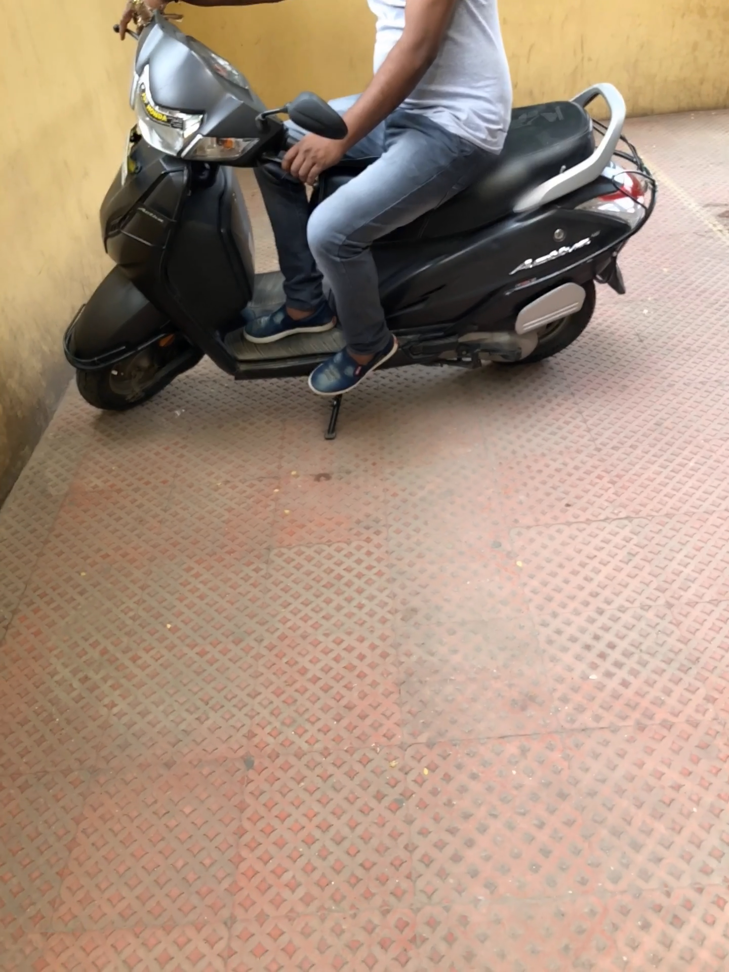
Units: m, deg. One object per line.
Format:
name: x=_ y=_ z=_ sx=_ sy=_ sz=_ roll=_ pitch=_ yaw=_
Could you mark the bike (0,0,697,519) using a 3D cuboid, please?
bike: x=-0.096 y=-0.665 z=2.118 sx=1.546 sy=1.016 sz=0.697 roll=-10 pitch=37 yaw=-2
